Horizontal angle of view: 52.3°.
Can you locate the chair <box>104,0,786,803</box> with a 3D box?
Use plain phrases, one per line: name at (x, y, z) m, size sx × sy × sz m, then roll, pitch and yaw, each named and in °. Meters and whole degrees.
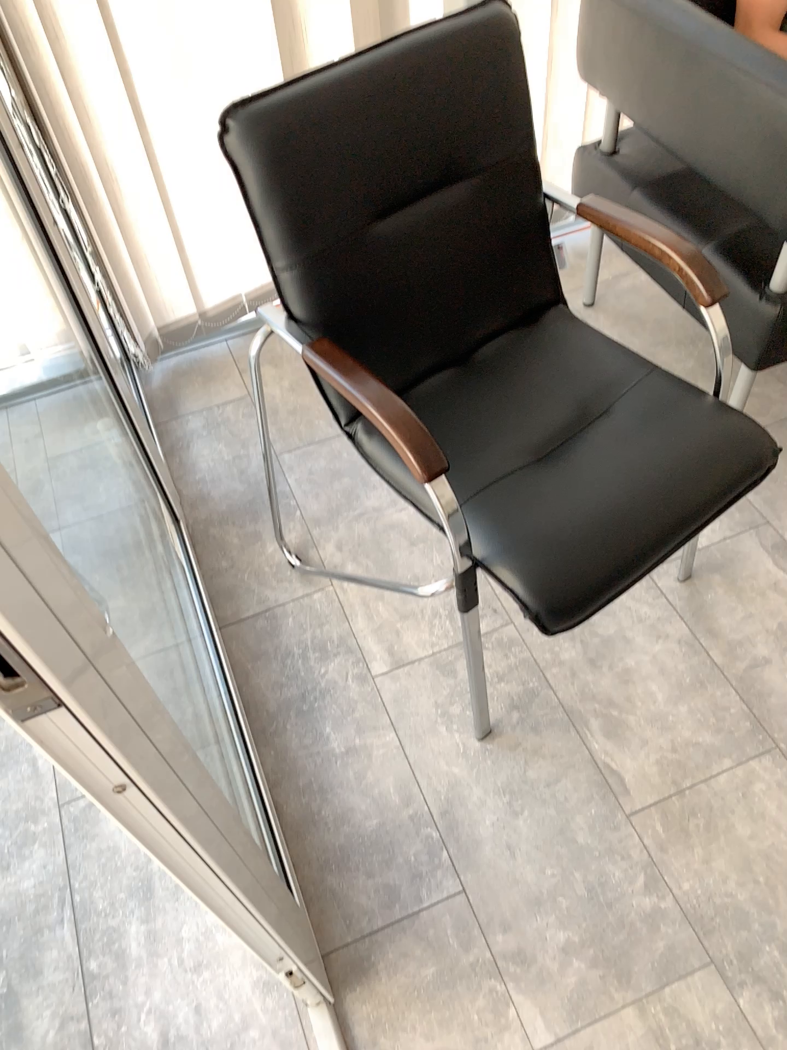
chair at (0.163, -0.203, 1.231) m, size 0.681 × 0.827 × 0.702 m, roll -34°, pitch 56°, yaw -20°
